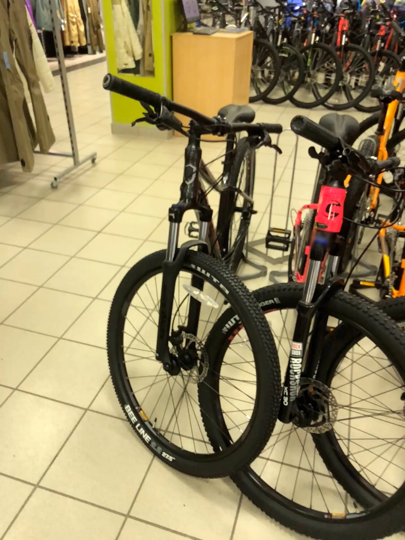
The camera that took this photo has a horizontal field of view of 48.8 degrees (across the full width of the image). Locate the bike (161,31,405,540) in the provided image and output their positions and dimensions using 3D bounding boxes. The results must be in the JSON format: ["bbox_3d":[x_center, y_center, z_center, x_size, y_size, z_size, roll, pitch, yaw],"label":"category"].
[{"bbox_3d":[0.282,-0.173,1.704,0.684,1.101,1.588,3,34,4],"label":"bike"}]

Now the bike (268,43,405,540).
[{"bbox_3d":[0.658,-0.120,1.562,0.653,1.074,1.573,4,31,4],"label":"bike"}]
